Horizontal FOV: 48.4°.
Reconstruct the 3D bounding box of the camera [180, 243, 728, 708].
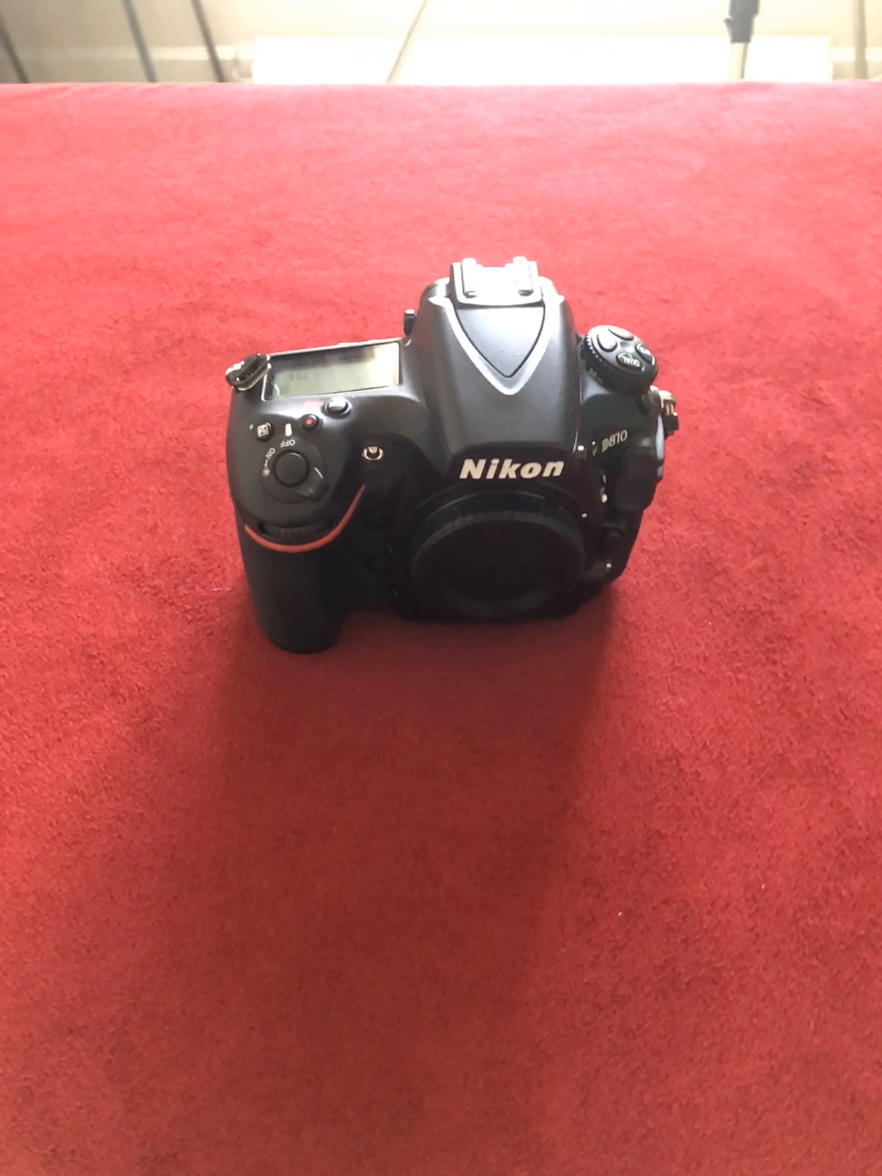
[{"bbox_3d":[0.001,-0.033,0.336,0.145,0.129,0.083,-4,52,-3],"label":"camera"}]
